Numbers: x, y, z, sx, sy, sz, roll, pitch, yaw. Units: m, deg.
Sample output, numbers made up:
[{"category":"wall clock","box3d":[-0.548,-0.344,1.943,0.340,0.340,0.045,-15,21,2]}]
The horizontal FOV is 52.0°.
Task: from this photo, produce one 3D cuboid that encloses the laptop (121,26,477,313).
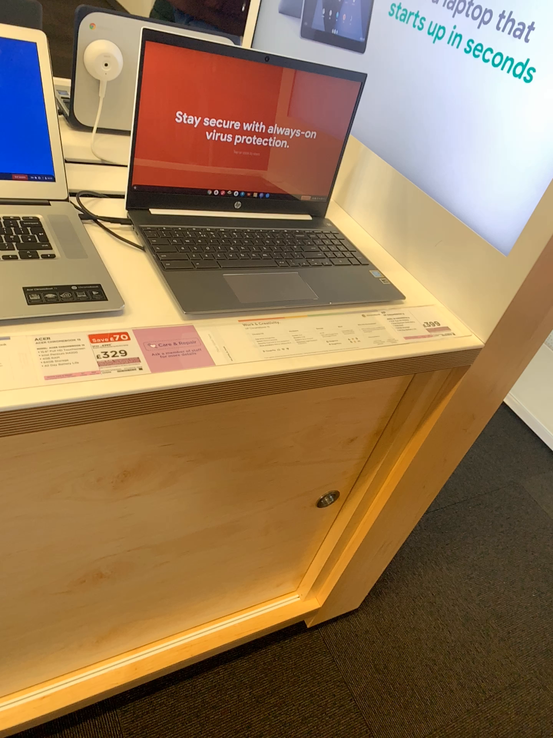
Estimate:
[{"category":"laptop","box3d":[0.012,-0.261,0.768,0.352,0.228,0.265,-8,46,-31]}]
